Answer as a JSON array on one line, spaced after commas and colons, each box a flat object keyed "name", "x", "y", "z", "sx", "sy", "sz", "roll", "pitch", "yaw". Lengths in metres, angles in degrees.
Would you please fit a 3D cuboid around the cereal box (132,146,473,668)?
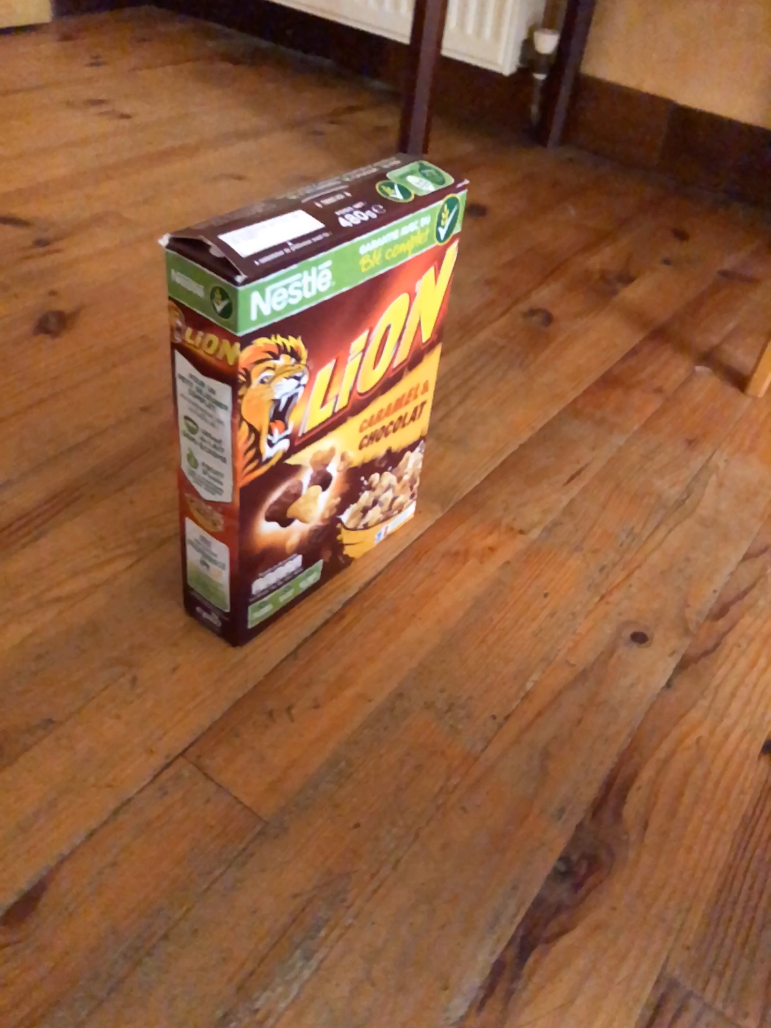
[{"name": "cereal box", "x": -0.048, "y": -0.064, "z": 0.545, "sx": 0.060, "sy": 0.278, "sz": 0.201, "roll": 31, "pitch": 46, "yaw": 25}]
